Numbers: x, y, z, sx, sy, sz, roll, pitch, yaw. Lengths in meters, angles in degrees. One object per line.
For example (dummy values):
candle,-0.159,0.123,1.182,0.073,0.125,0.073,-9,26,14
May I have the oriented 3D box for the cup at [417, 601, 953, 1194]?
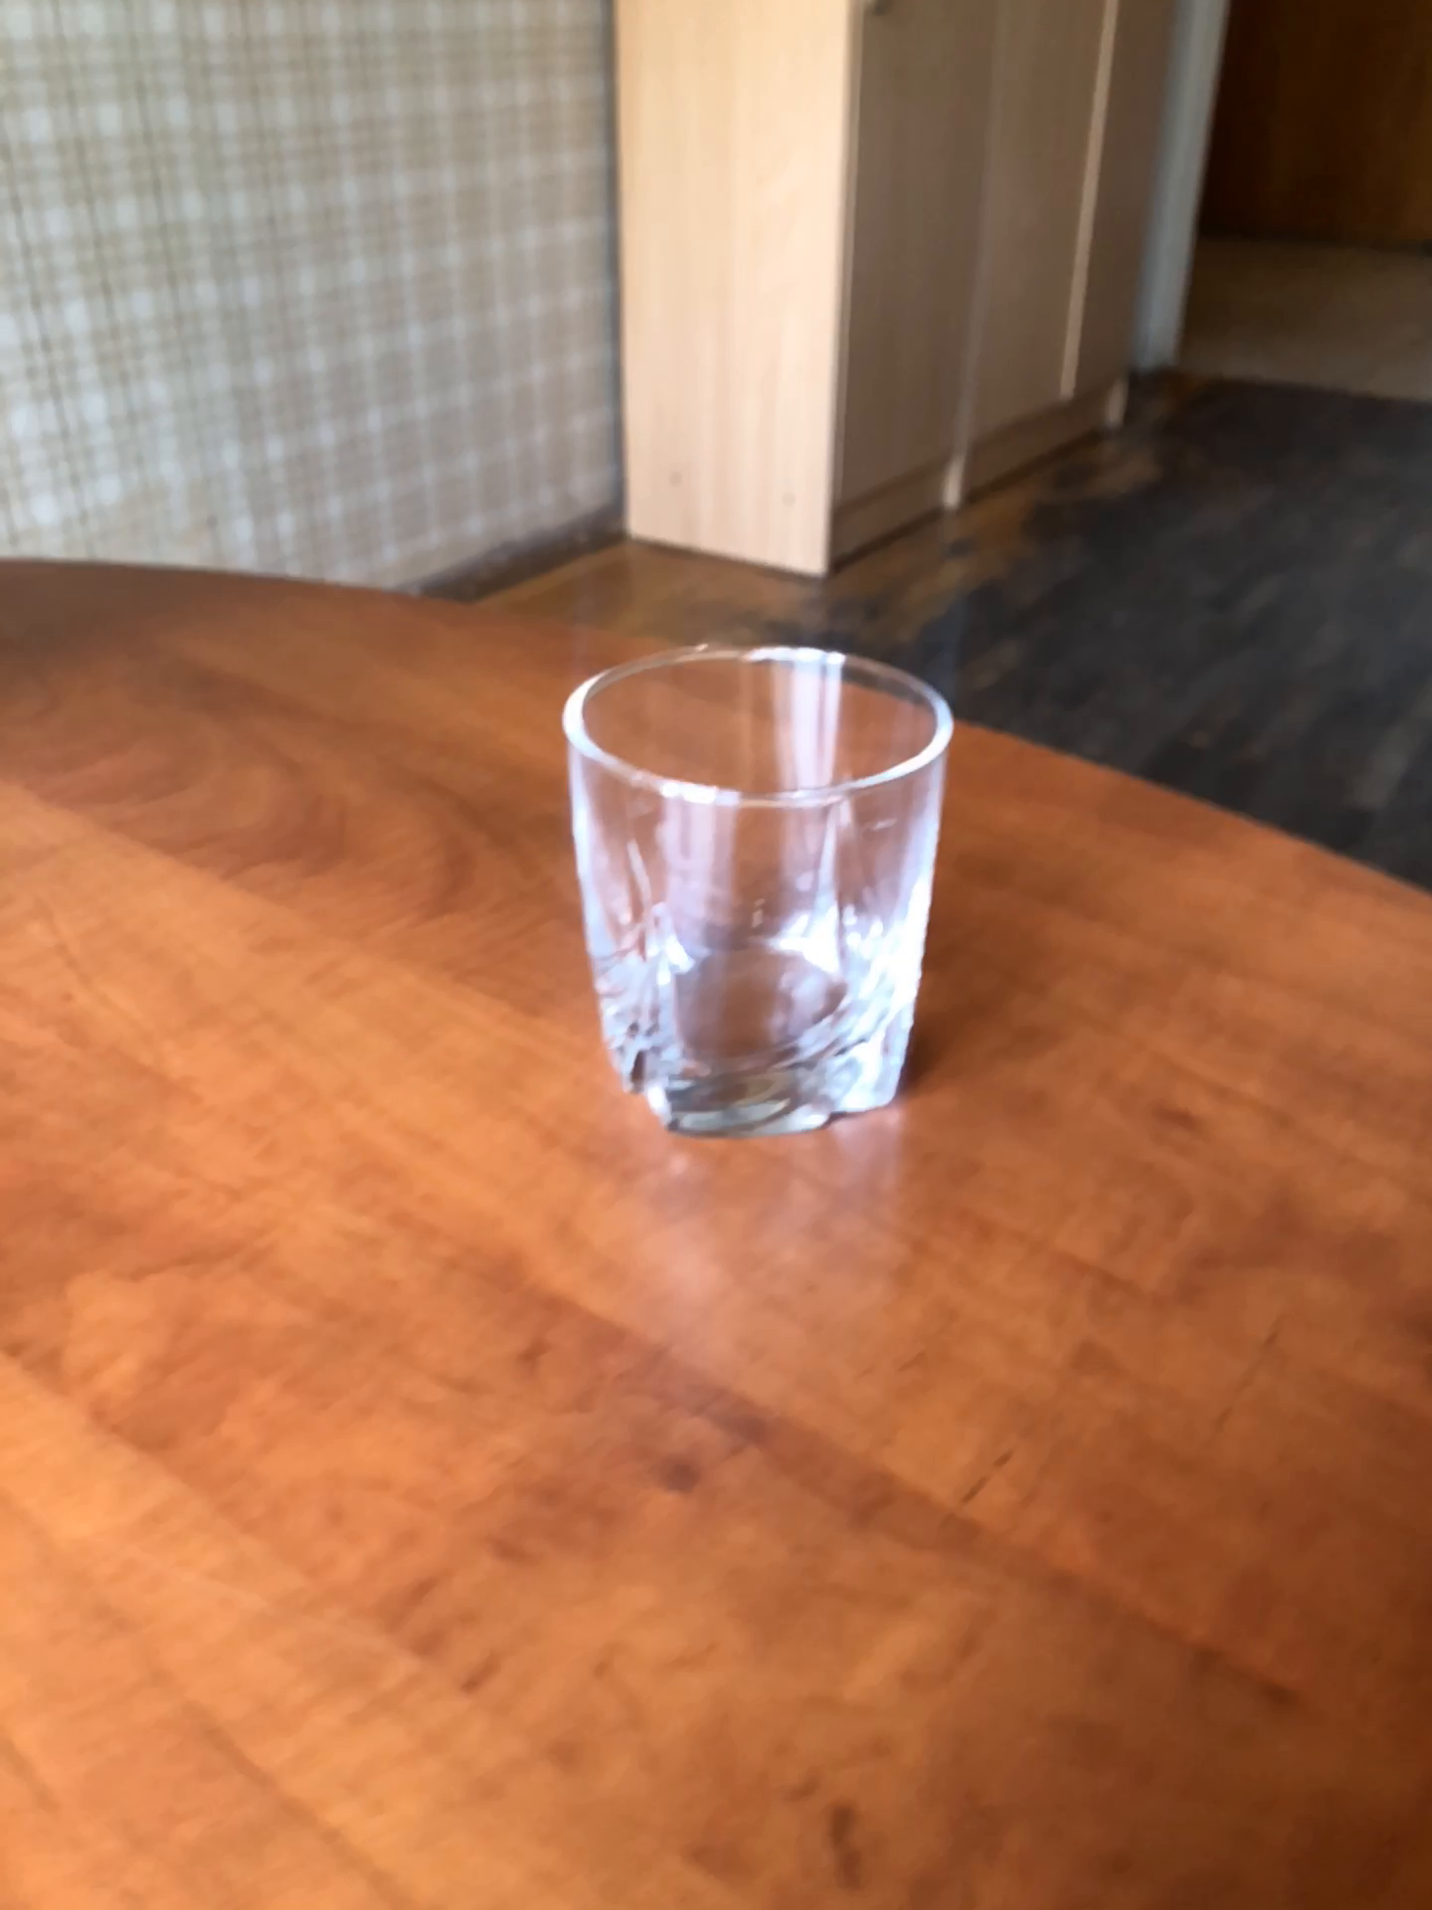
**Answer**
cup,-0.002,-0.018,0.356,0.089,0.086,0.095,1,30,0
